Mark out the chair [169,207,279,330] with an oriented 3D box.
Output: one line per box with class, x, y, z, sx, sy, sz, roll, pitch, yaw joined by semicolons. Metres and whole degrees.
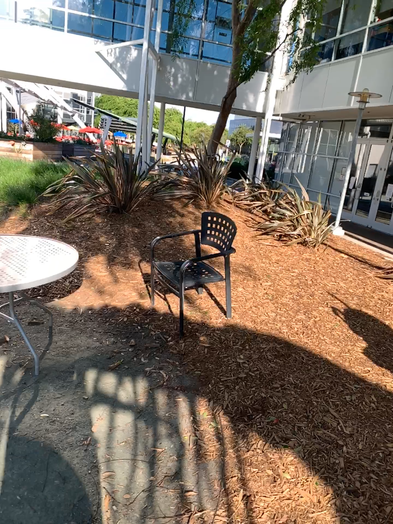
chair;0.172;0.019;2.884;0.500;0.717;0.522;-1;18;-27
